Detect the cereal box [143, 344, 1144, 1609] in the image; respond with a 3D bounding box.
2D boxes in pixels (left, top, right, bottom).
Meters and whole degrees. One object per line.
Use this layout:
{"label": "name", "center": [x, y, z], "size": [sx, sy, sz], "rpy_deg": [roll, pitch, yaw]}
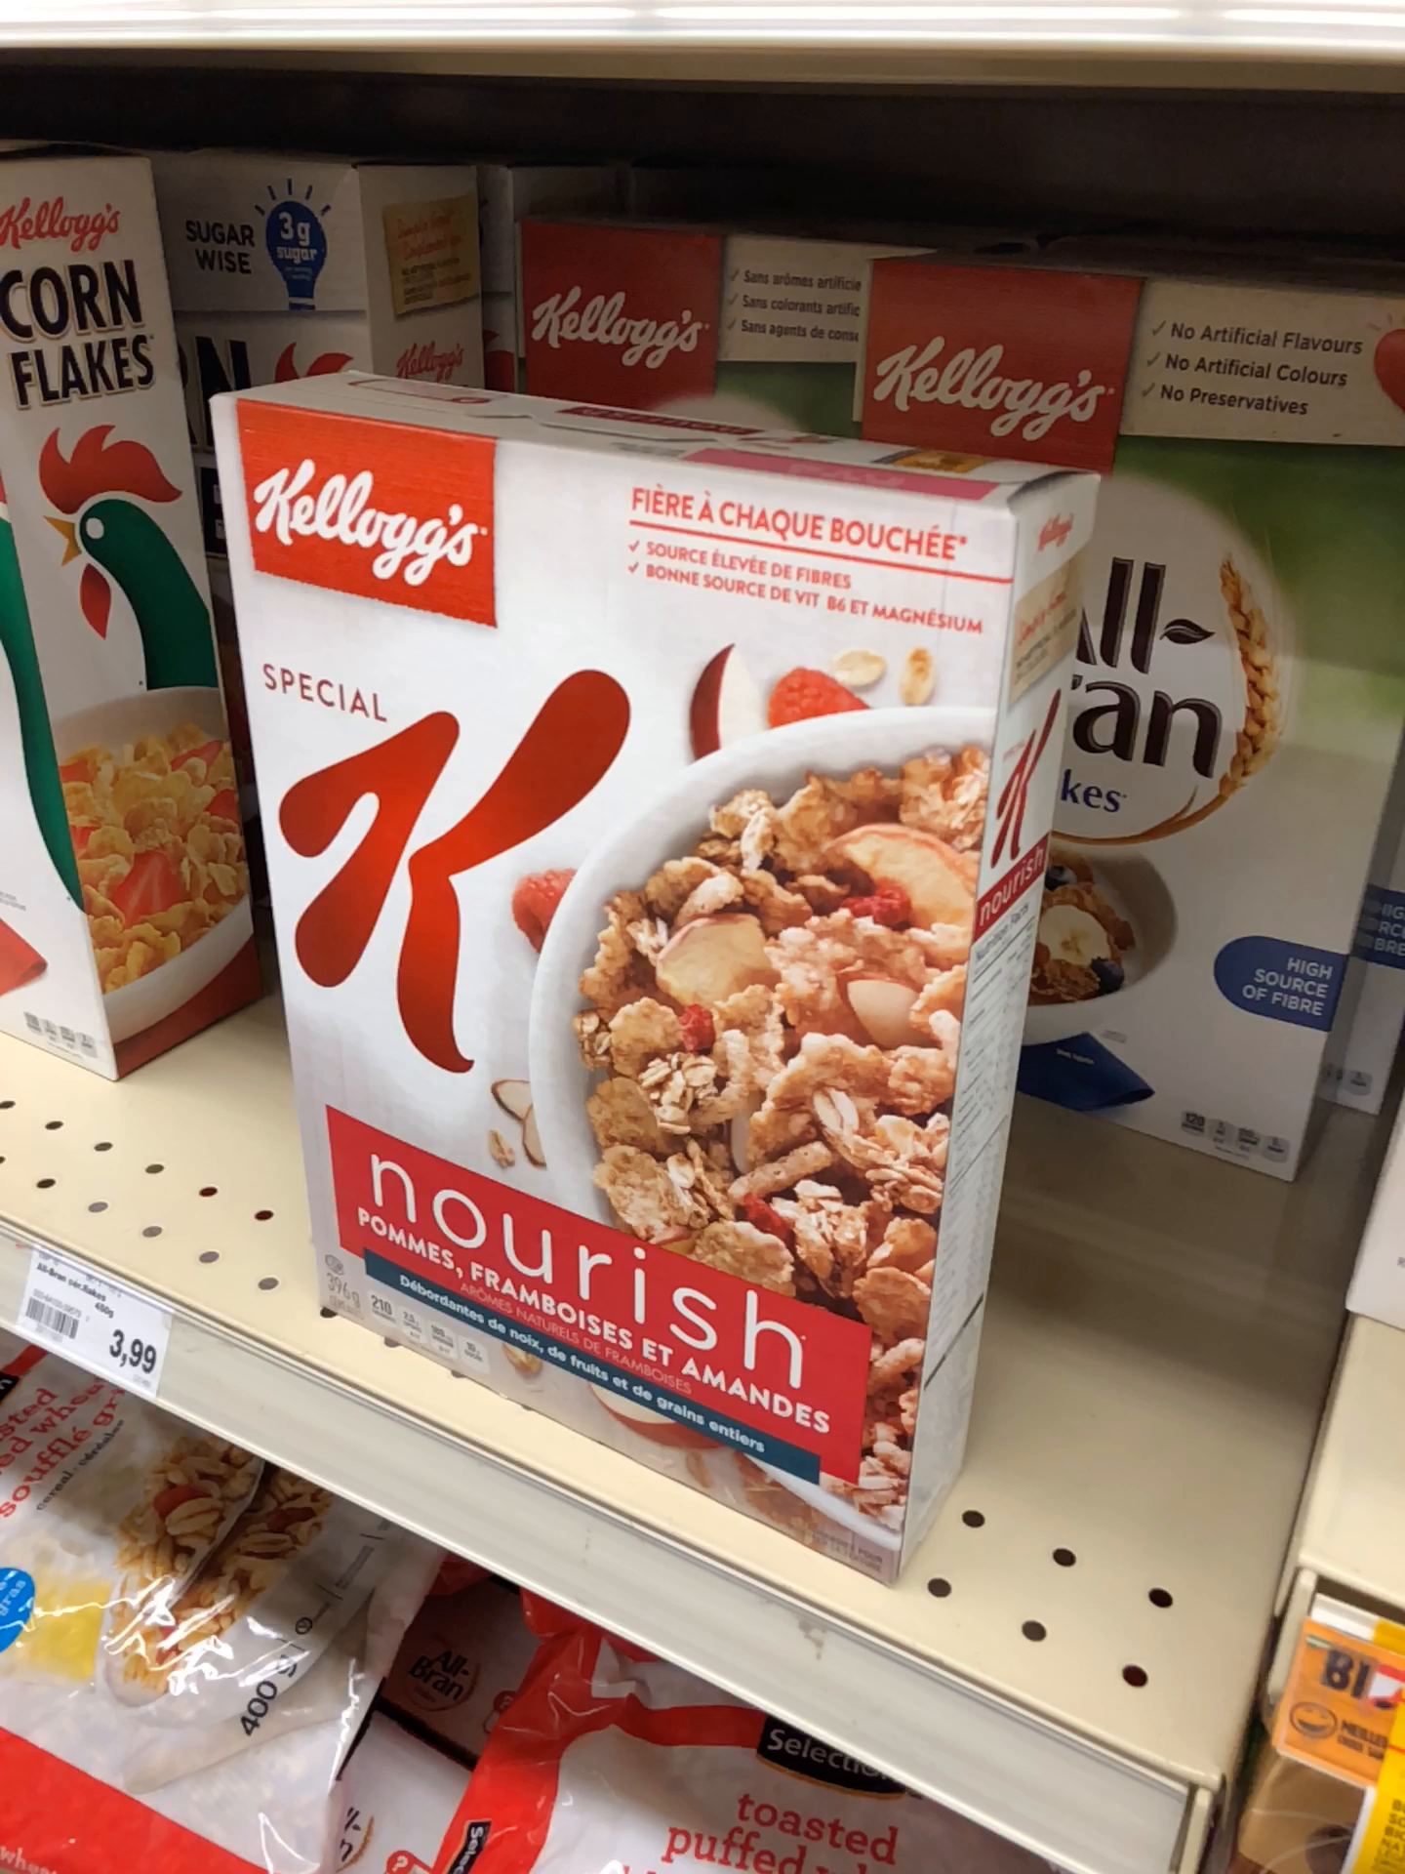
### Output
{"label": "cereal box", "center": [-0.022, 0.004, 0.365], "size": [0.200, 0.248, 0.060], "rpy_deg": [17, 31, 28]}
